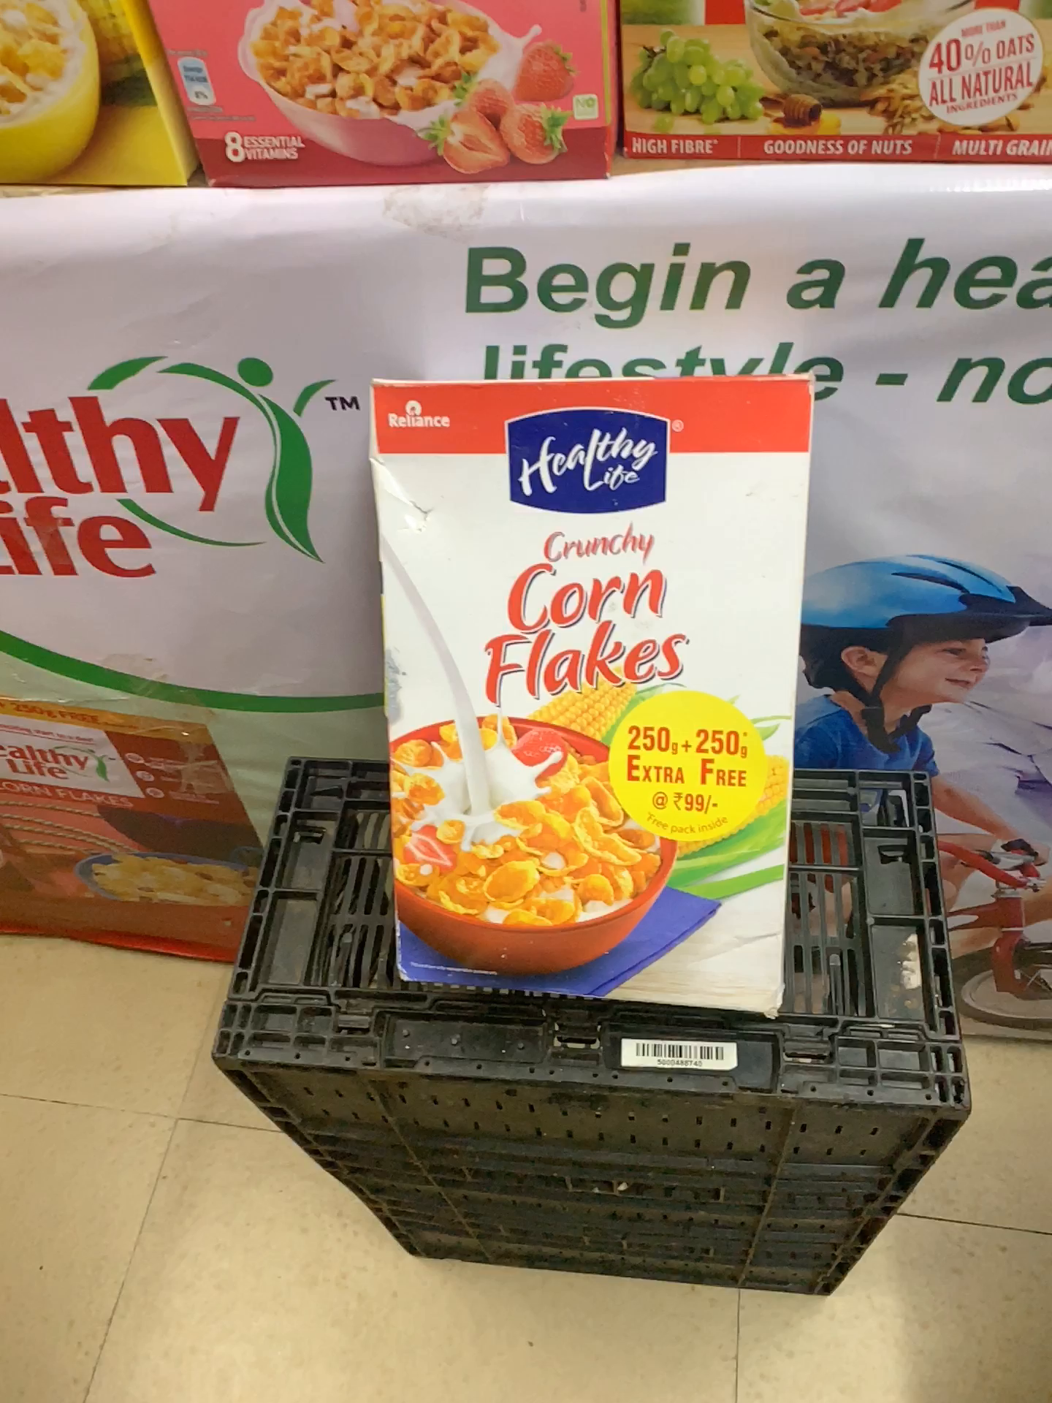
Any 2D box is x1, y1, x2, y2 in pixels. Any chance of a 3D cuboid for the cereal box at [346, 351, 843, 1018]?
[{"bbox_3d":[0.033,-0.012,0.506,0.200,0.280,0.100,2,12,10],"label":"cereal box"}]
